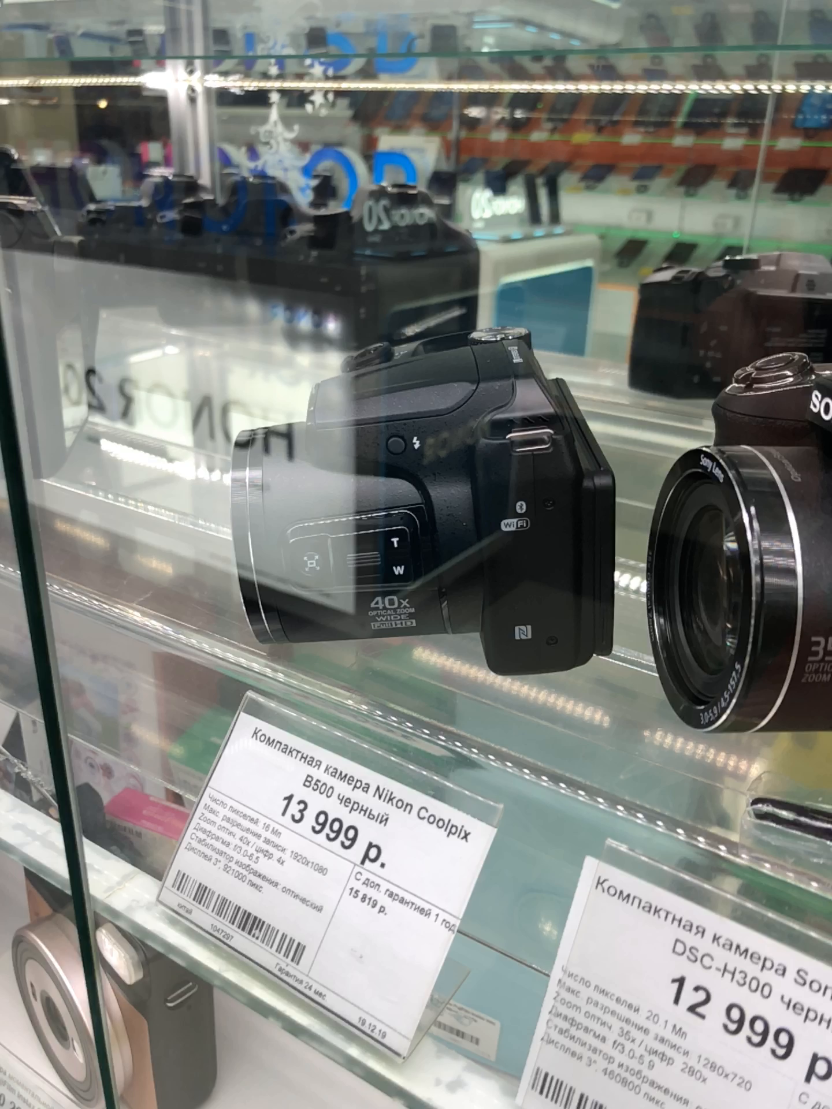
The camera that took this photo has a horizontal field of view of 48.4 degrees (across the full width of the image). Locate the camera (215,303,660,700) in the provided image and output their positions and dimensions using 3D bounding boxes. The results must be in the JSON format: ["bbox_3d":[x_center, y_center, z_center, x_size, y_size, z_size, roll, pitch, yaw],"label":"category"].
[{"bbox_3d":[0.000,-0.023,0.269,0.098,0.080,0.110,0,24,-5],"label":"camera"}]

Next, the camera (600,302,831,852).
[{"bbox_3d":[0.107,-0.007,0.215,0.098,0.084,0.115,-3,22,-3],"label":"camera"}]
